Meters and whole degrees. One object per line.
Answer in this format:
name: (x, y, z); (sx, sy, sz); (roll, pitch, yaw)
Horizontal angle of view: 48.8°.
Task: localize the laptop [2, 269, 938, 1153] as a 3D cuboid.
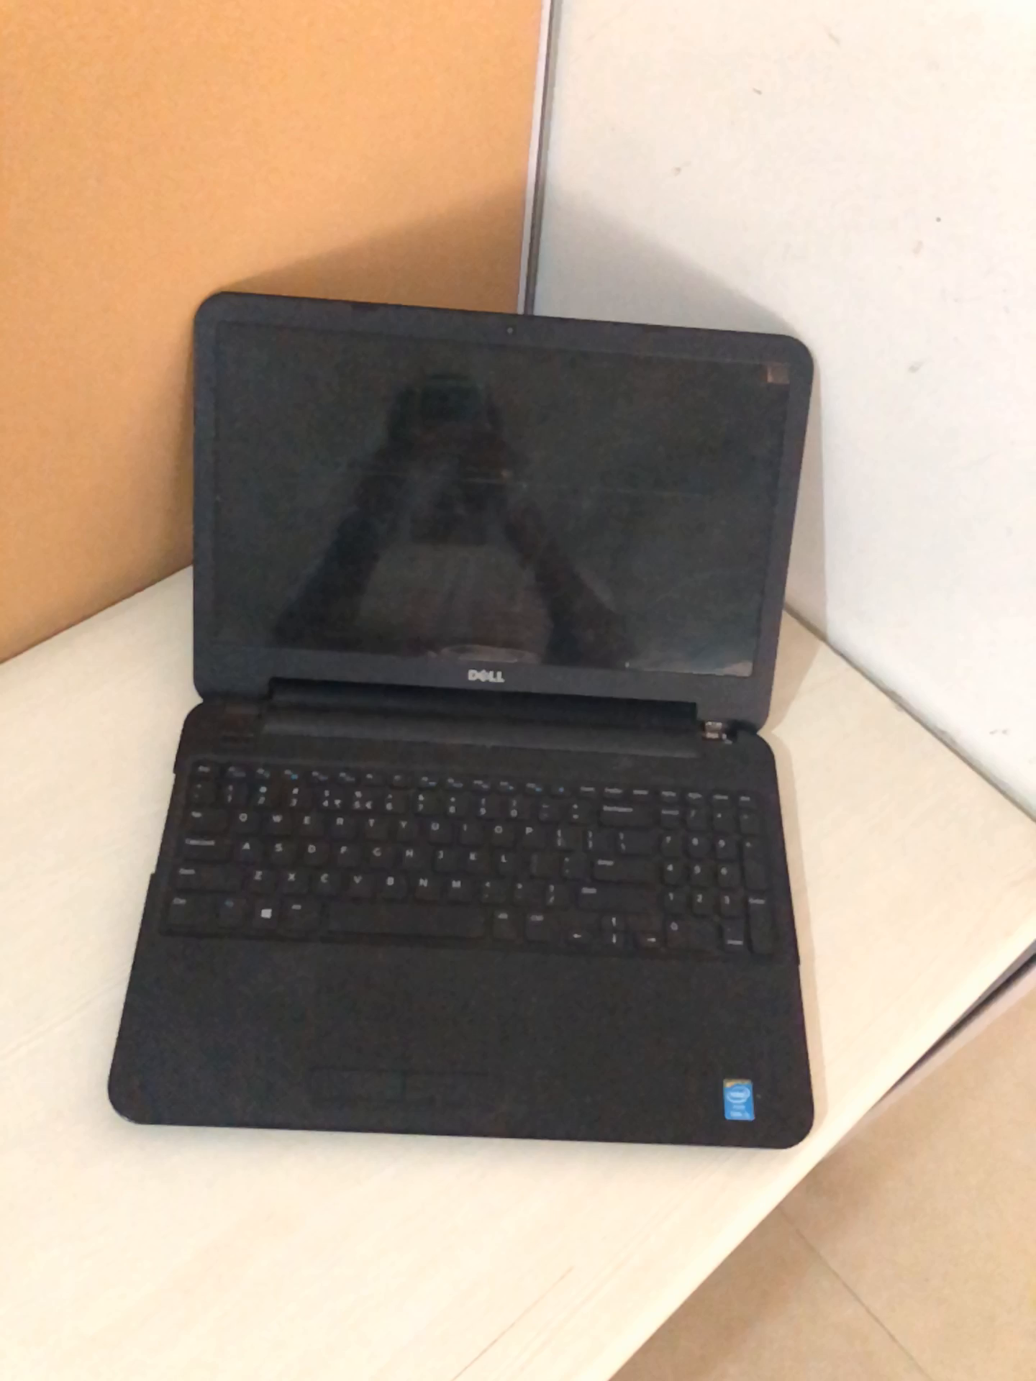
laptop: (-0.017, -0.003, 0.613); (0.352, 0.175, 0.415); (4, 56, -2)
